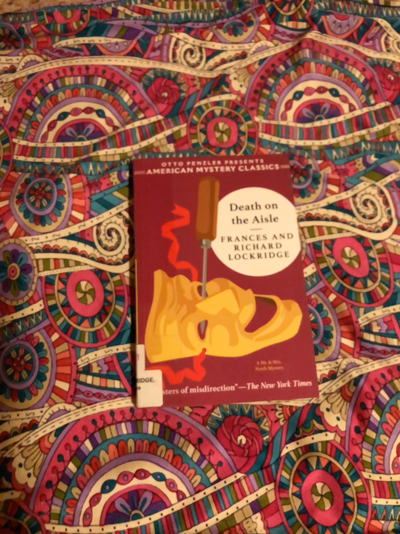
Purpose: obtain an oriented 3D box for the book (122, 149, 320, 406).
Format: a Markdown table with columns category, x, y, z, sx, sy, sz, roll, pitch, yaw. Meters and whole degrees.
| category | x | y | z | sx | sy | sz | roll | pitch | yaw |
| --- | --- | --- | --- | --- | --- | --- | --- | --- | --- |
| book | 0.010 | 0.002 | 0.351 | 0.137 | 0.024 | 0.196 | -2 | 74 | -4 |
